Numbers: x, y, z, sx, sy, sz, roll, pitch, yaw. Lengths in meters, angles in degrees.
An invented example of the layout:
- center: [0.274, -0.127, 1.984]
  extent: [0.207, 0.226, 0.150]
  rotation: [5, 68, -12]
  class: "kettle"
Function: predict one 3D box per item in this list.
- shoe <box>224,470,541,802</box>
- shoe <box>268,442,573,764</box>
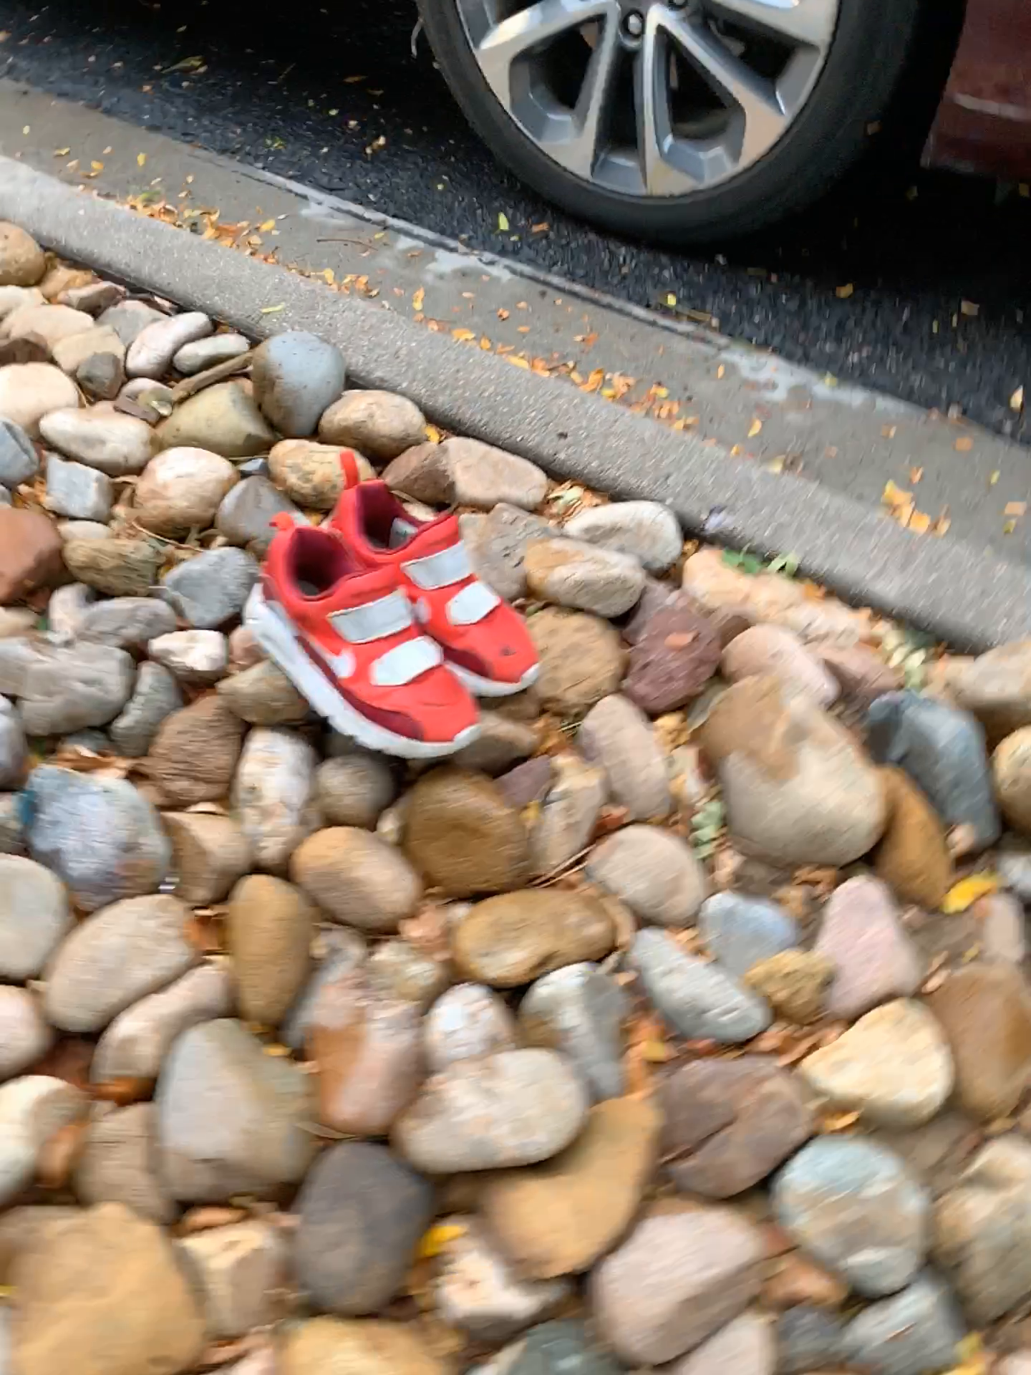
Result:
- center: [-0.099, -0.038, 0.742]
  extent: [0.210, 0.100, 0.080]
  rotation: [42, 50, 13]
  class: "shoe"
- center: [-0.074, -0.063, 0.785]
  extent: [0.210, 0.100, 0.080]
  rotation: [46, 51, 8]
  class: "shoe"
